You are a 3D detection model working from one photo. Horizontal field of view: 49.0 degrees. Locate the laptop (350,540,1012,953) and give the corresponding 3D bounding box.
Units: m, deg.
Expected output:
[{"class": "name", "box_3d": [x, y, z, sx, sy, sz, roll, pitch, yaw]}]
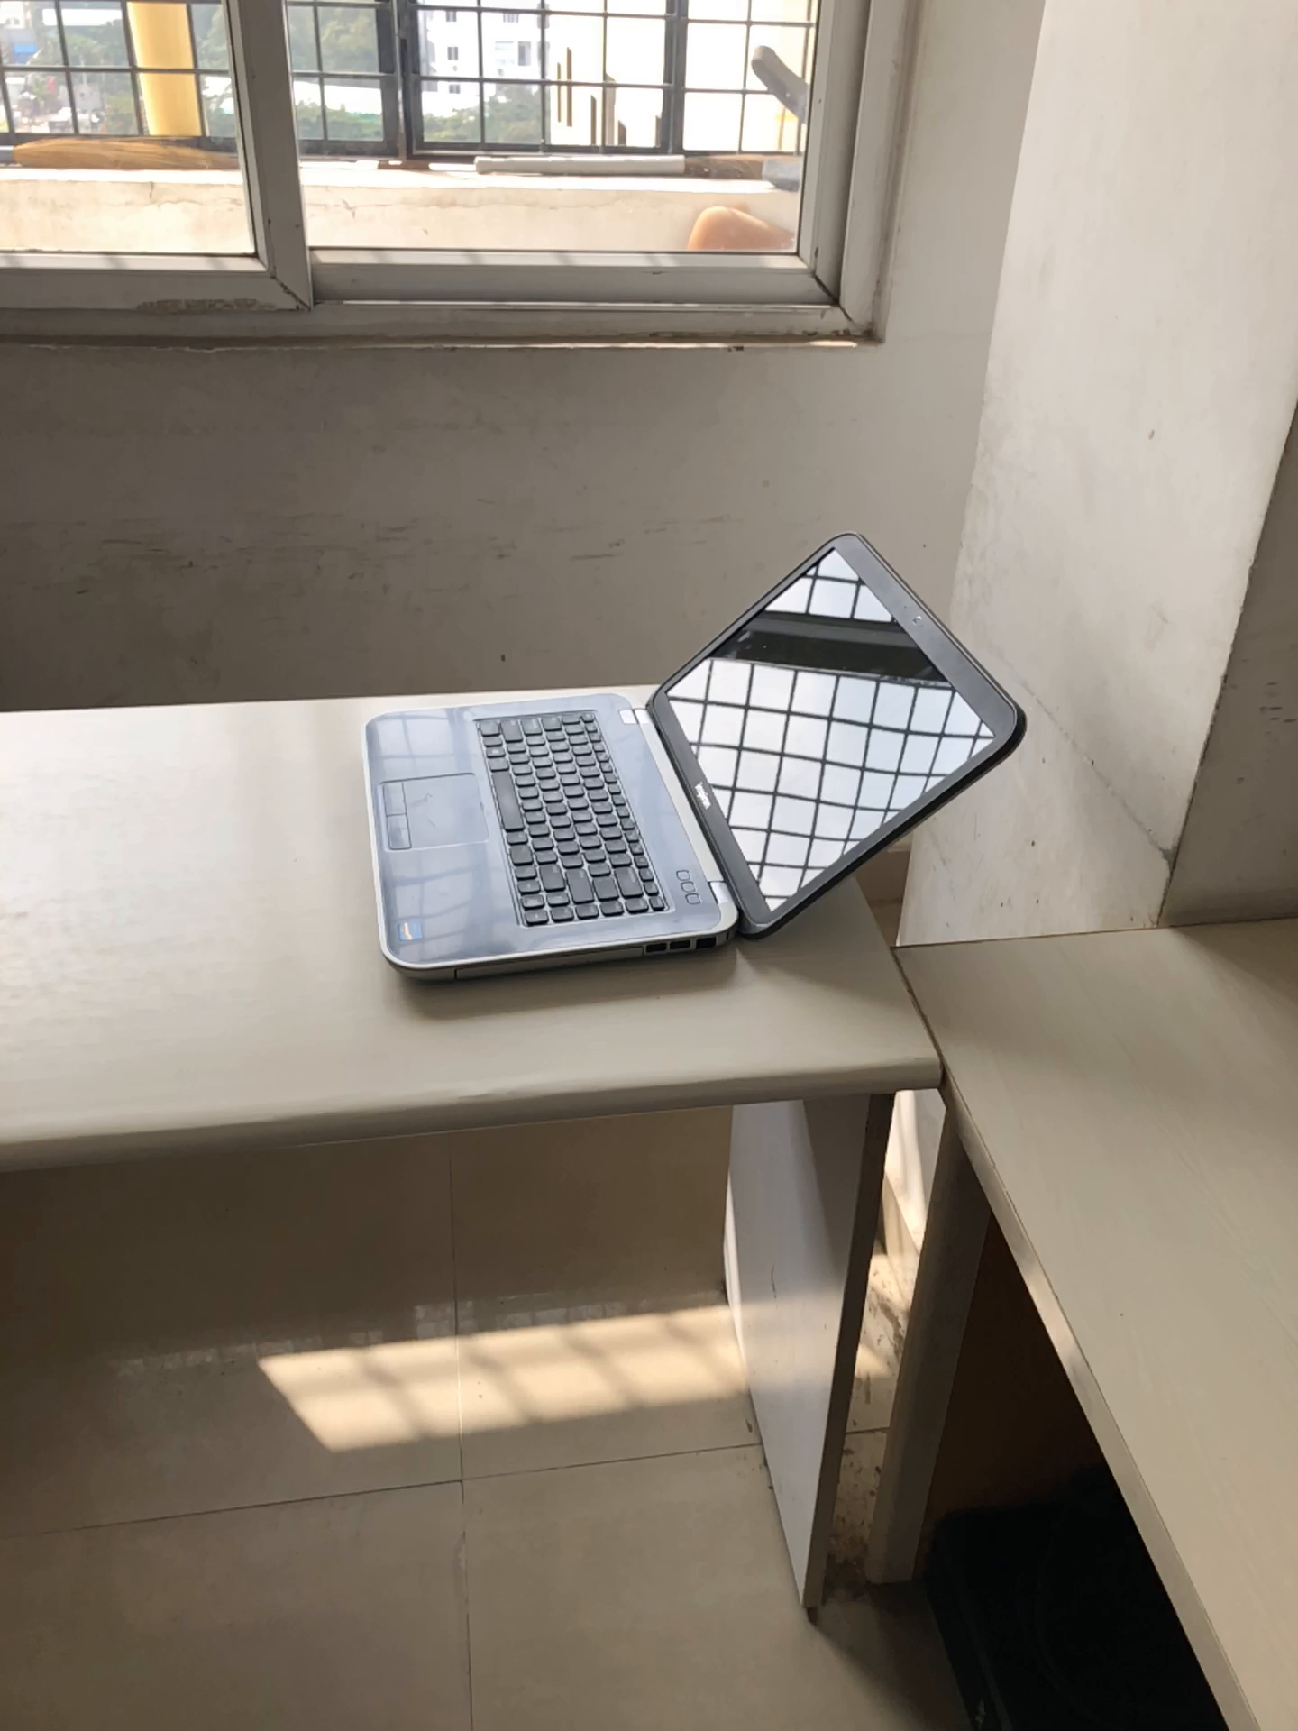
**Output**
[{"class": "laptop", "box_3d": [-0.003, -0.110, 1.082, 0.406, 0.145, 0.343, -5, 34, -11]}]
